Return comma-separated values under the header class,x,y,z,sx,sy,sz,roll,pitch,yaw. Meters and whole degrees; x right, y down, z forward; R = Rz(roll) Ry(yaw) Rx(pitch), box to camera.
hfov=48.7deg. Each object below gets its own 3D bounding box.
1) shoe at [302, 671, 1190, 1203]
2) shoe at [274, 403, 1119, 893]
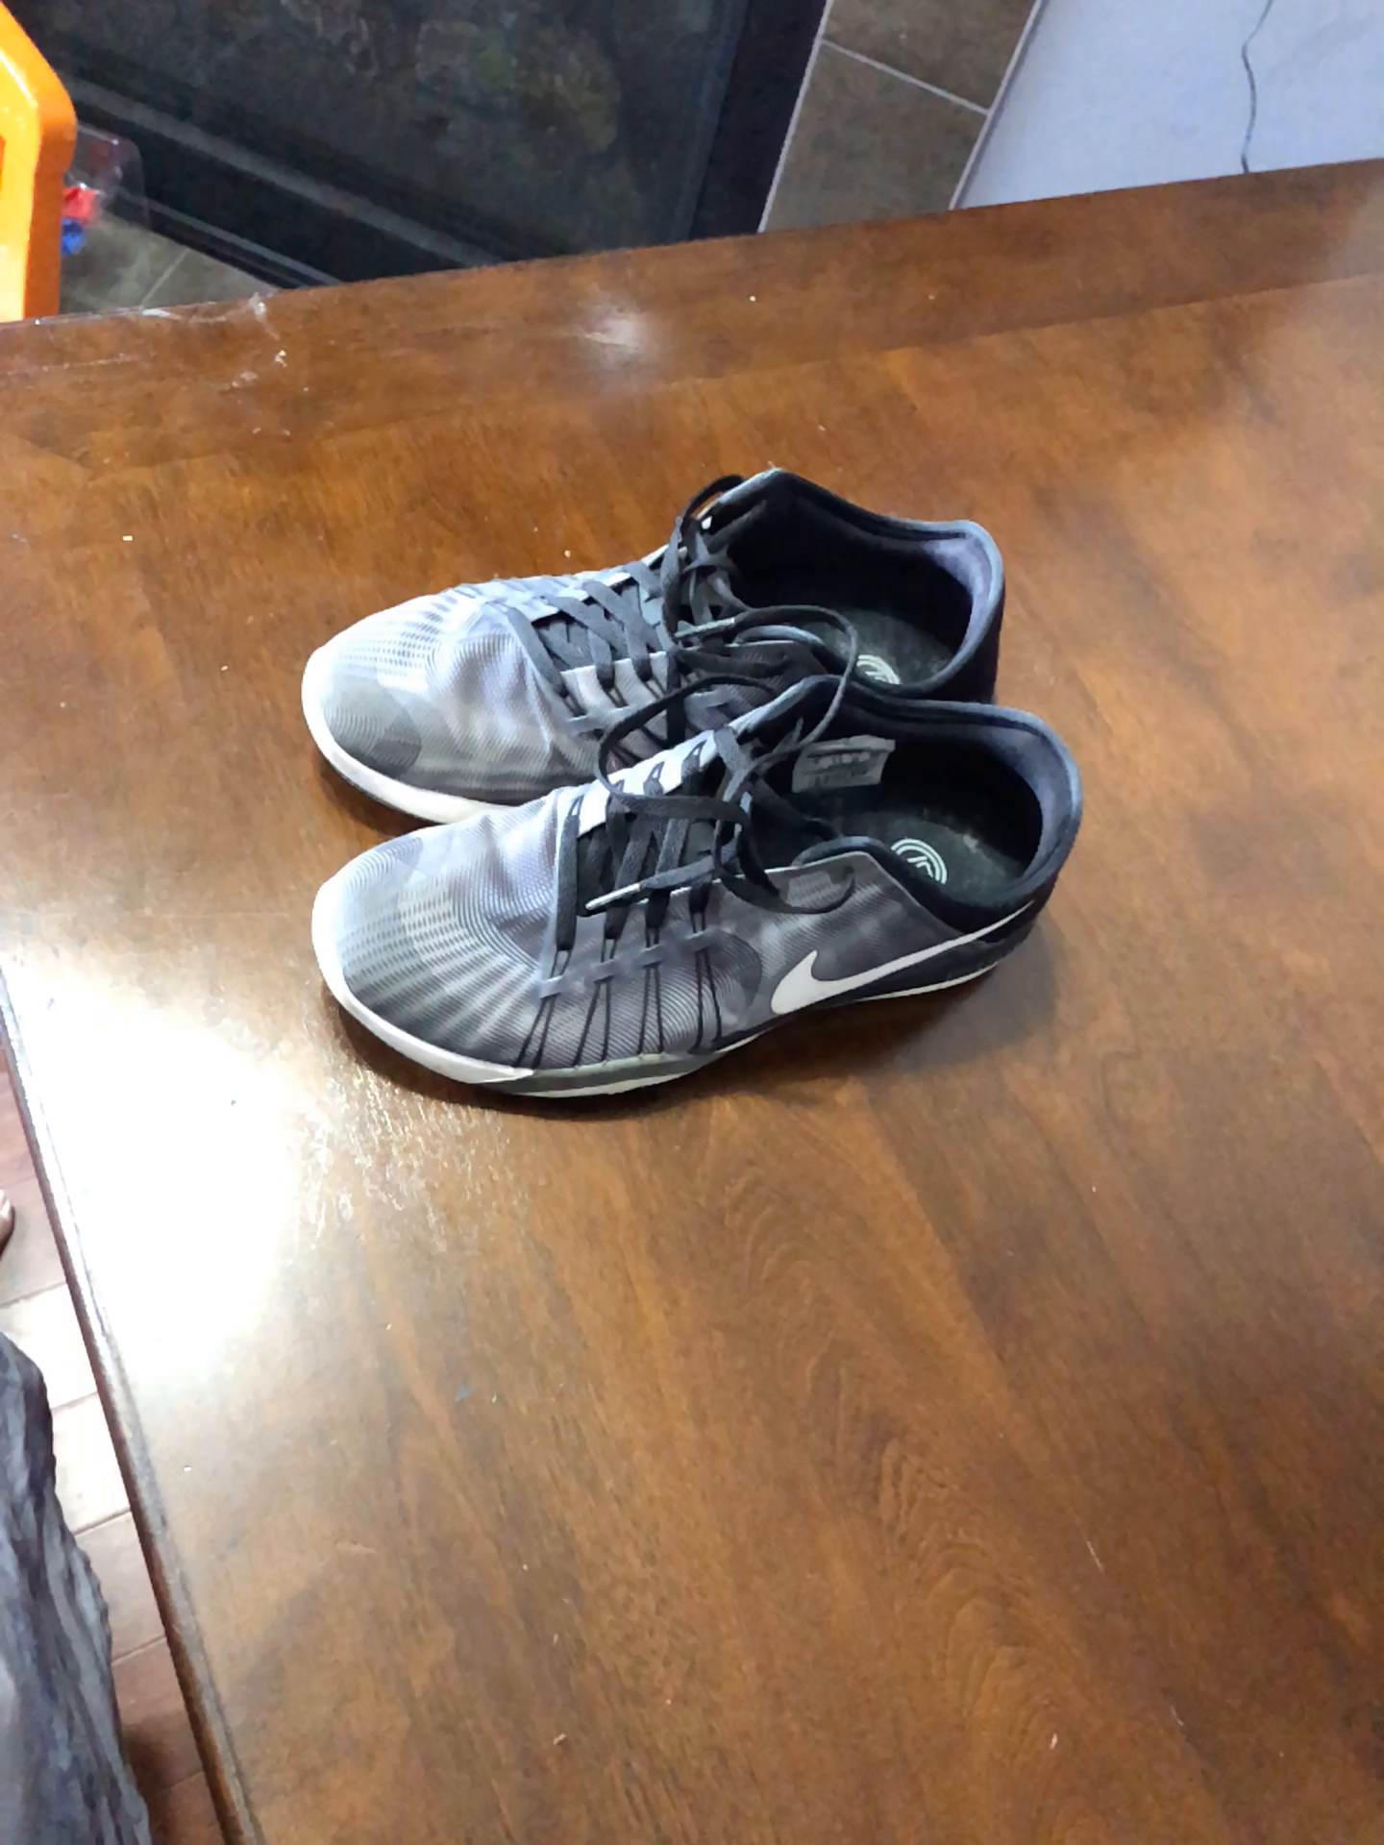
class,x,y,z,sx,sy,sz,roll,pitch,yaw
shoe,0.011,0.001,0.451,0.230,0.080,0.100,-8,65,-18
shoe,-0.004,-0.088,0.478,0.230,0.090,0.100,-8,65,-18
